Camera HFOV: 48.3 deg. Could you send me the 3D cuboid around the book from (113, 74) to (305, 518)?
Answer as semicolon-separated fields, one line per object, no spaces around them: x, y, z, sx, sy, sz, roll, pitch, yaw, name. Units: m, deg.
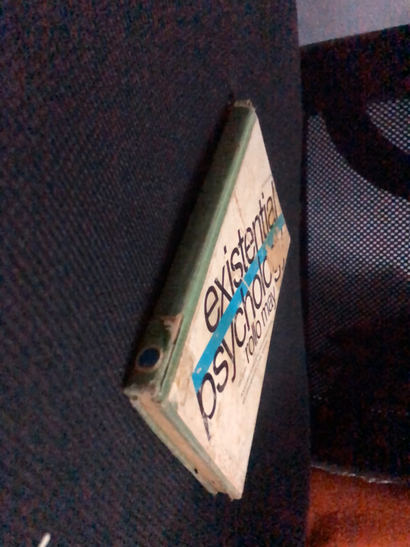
0.023;0.005;0.246;0.126;0.020;0.200;67;33;-46;book
